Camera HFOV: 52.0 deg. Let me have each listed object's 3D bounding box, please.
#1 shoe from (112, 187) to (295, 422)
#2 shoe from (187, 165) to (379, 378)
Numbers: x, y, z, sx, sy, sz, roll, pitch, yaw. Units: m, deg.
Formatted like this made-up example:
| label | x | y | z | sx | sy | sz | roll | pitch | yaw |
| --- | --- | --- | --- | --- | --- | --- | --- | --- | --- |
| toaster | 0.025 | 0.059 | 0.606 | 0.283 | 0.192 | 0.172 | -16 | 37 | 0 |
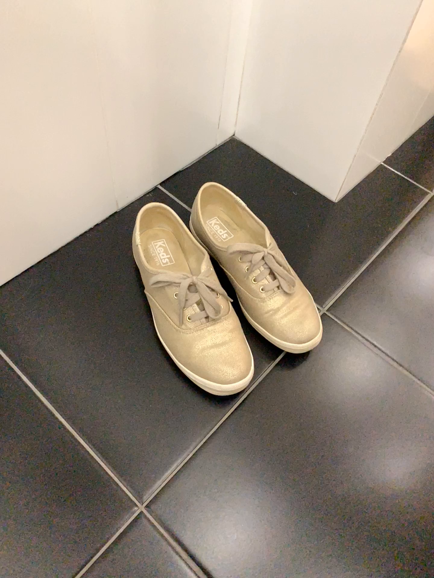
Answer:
| label | x | y | z | sx | sy | sz | roll | pitch | yaw |
| --- | --- | --- | --- | --- | --- | --- | --- | --- | --- |
| shoe | -0.026 | 0.010 | 0.496 | 0.090 | 0.100 | 0.231 | -22 | 61 | -20 |
| shoe | 0.063 | -0.028 | 0.535 | 0.090 | 0.100 | 0.231 | -25 | 62 | -22 |
